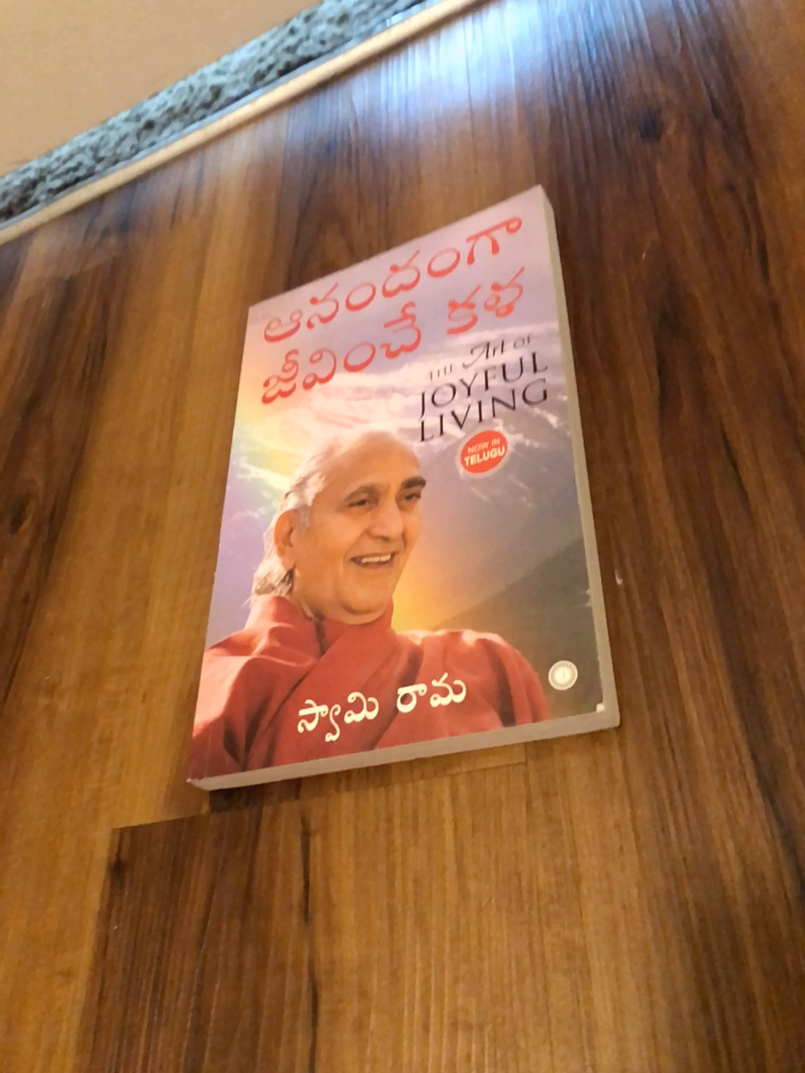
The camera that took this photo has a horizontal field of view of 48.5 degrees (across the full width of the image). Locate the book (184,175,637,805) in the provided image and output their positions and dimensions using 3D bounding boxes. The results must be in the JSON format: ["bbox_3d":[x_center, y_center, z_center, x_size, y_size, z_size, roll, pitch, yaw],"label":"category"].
[{"bbox_3d":[-0.004,-0.024,0.327,0.145,0.020,0.219,-16,56,24],"label":"book"}]
